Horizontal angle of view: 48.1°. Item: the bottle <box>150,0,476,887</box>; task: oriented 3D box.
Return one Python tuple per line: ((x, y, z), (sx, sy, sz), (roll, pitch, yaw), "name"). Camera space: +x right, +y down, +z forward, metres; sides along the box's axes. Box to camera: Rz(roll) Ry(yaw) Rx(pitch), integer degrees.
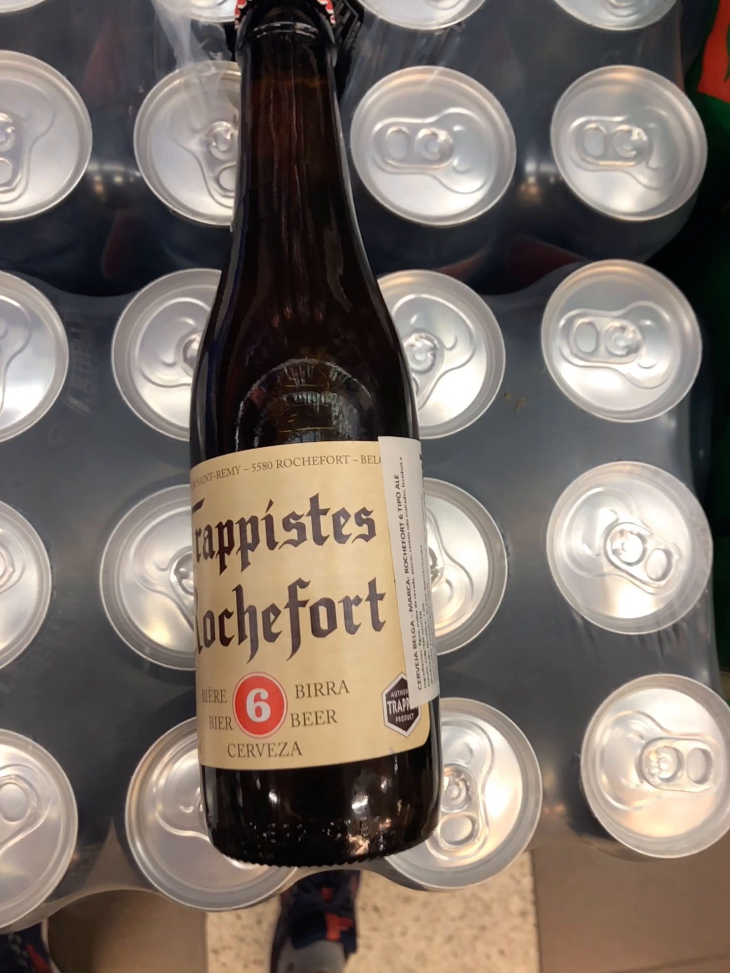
((-0.017, -0.036, 0.210), (0.060, 0.050, 0.240), (-3, 83, -8), "bottle")
